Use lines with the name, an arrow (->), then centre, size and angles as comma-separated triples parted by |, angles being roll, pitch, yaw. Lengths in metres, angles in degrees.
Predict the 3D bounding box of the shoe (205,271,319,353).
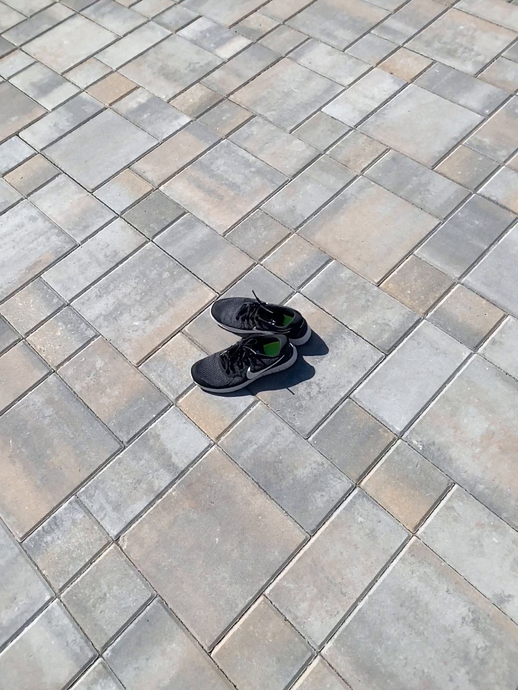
shoe -> 0.010, -0.083, 1.301 | 0.250, 0.100, 0.110 | 15, 62, 13

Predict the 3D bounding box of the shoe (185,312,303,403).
shoe -> -0.031, 0.030, 1.259 | 0.250, 0.110, 0.110 | -17, 60, -5
